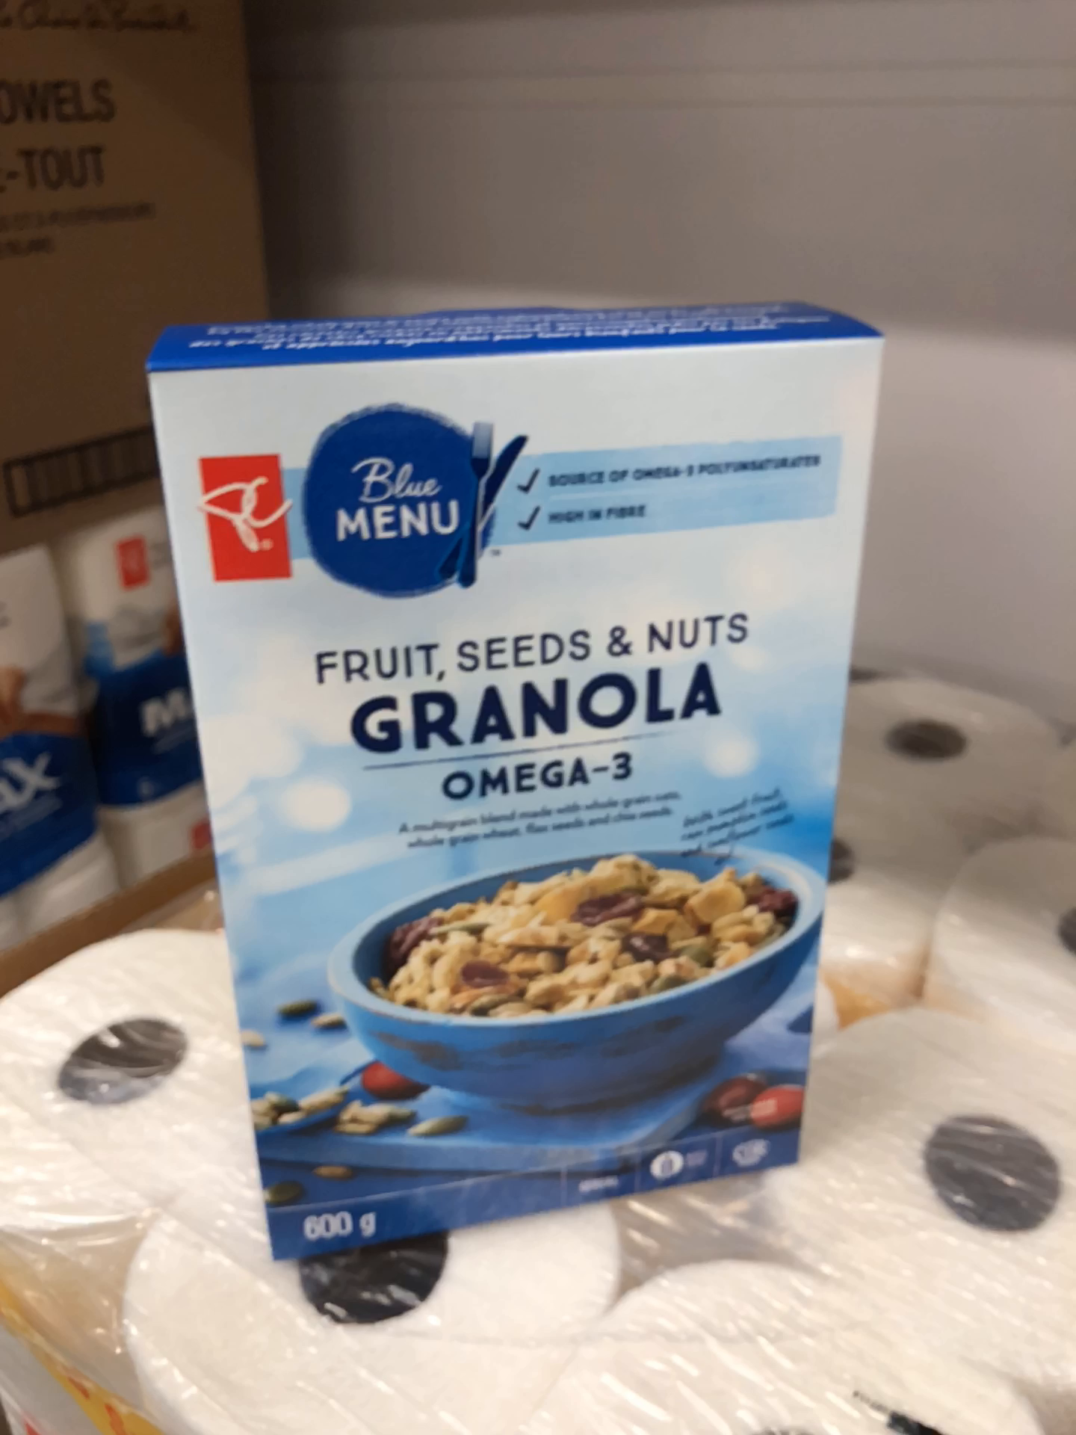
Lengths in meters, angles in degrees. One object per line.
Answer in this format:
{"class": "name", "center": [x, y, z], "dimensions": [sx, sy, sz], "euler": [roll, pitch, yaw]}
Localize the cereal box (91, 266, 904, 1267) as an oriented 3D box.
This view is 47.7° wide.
{"class": "cereal box", "center": [-0.006, 0.017, 0.313], "dimensions": [0.160, 0.239, 0.060], "euler": [-6, 25, -9]}
